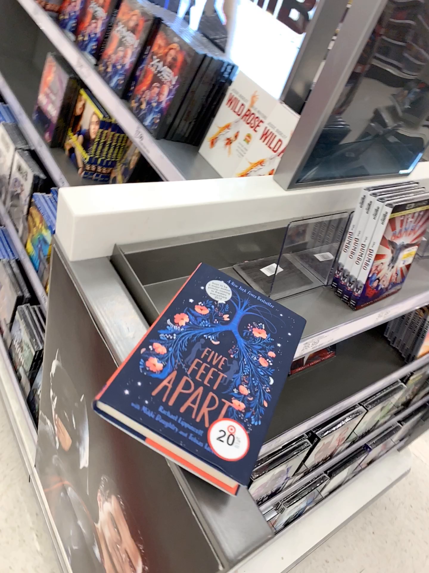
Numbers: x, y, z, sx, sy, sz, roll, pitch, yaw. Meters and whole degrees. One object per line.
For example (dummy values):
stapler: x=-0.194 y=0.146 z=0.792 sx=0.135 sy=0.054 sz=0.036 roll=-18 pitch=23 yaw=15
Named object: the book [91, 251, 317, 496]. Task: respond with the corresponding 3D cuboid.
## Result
book: x=0.005 y=0.067 z=0.443 sx=0.150 sy=0.028 sz=0.221 roll=27 pitch=45 yaw=6
